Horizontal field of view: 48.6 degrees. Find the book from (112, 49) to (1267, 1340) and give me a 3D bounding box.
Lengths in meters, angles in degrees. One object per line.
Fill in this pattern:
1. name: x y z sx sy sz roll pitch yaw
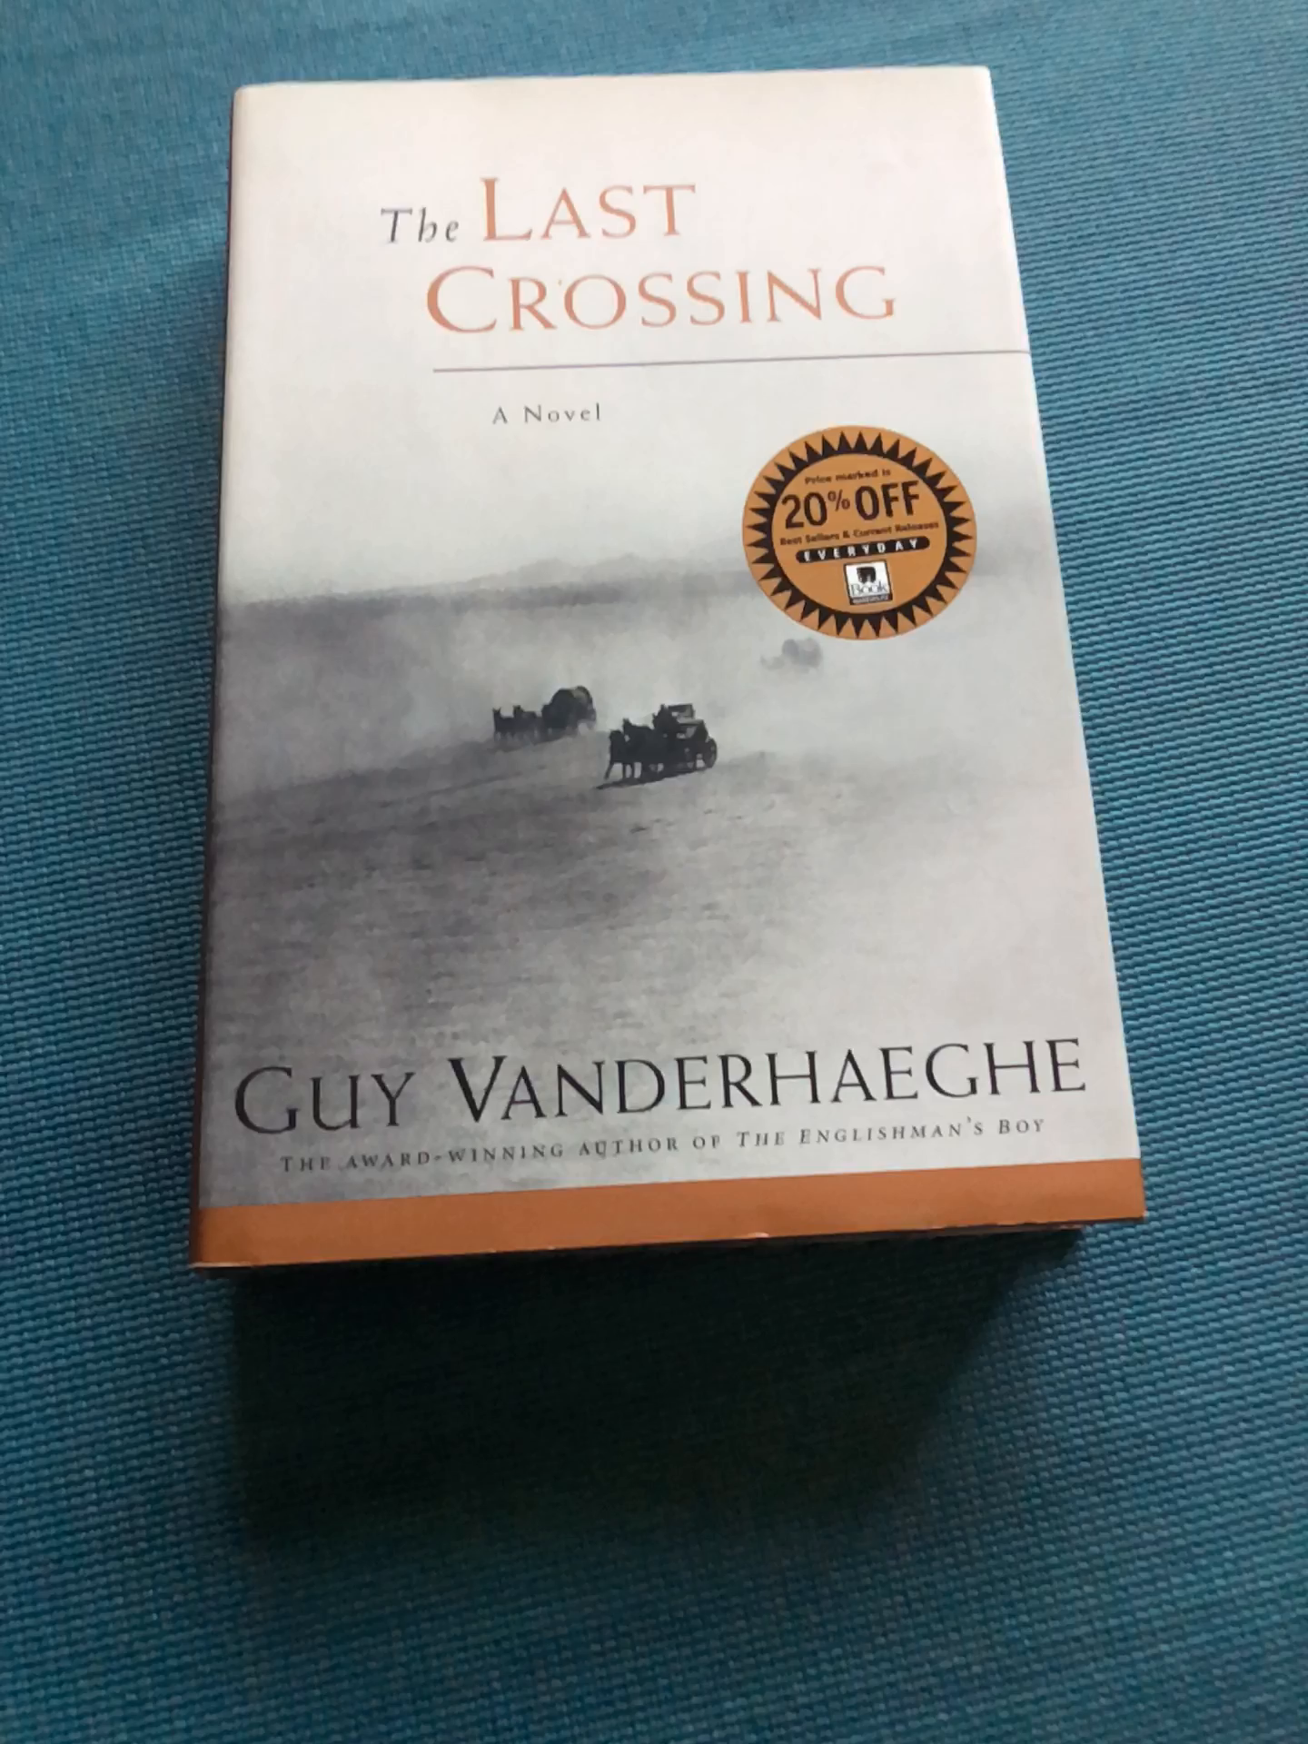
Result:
1. book: -0.001 -0.041 0.265 0.170 0.040 0.230 -3 73 -3
